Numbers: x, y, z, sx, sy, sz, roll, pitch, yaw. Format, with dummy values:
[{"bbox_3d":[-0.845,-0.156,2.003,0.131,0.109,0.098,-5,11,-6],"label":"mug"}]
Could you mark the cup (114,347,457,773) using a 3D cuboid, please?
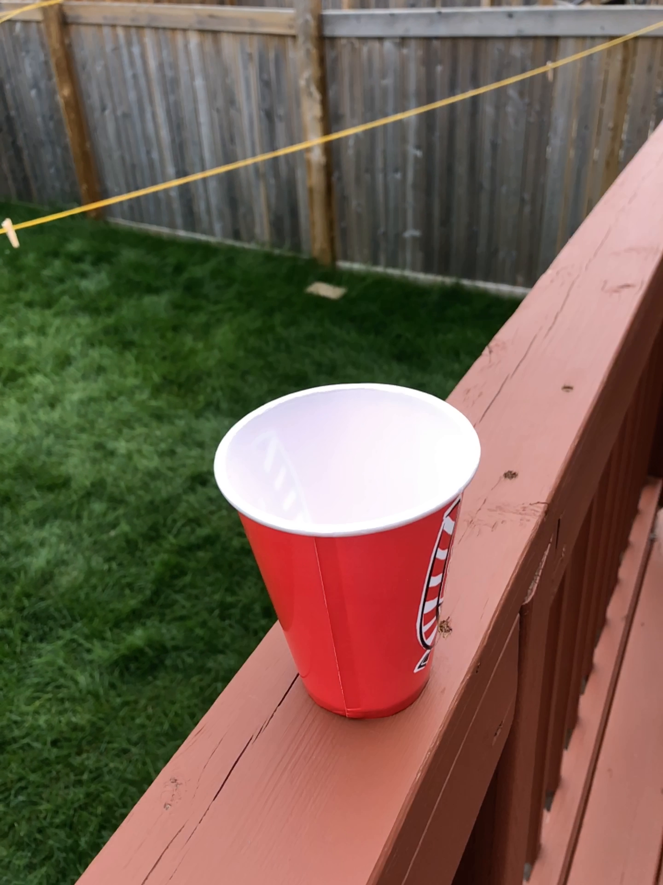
[{"bbox_3d":[-0.004,0.034,0.239,0.080,0.100,0.080,-3,33,2],"label":"cup"}]
